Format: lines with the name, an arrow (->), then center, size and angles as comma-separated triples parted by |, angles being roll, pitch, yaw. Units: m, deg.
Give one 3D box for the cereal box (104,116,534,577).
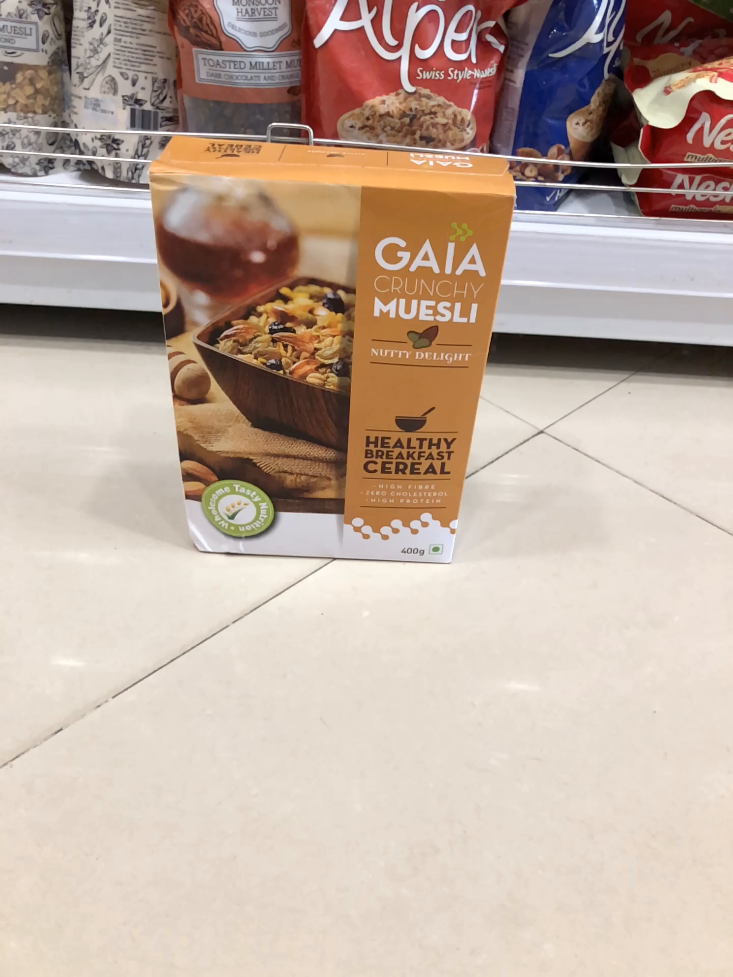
cereal box -> -0.026, -0.065, 0.459 | 0.190, 0.248, 0.060 | 3, 39, -1
